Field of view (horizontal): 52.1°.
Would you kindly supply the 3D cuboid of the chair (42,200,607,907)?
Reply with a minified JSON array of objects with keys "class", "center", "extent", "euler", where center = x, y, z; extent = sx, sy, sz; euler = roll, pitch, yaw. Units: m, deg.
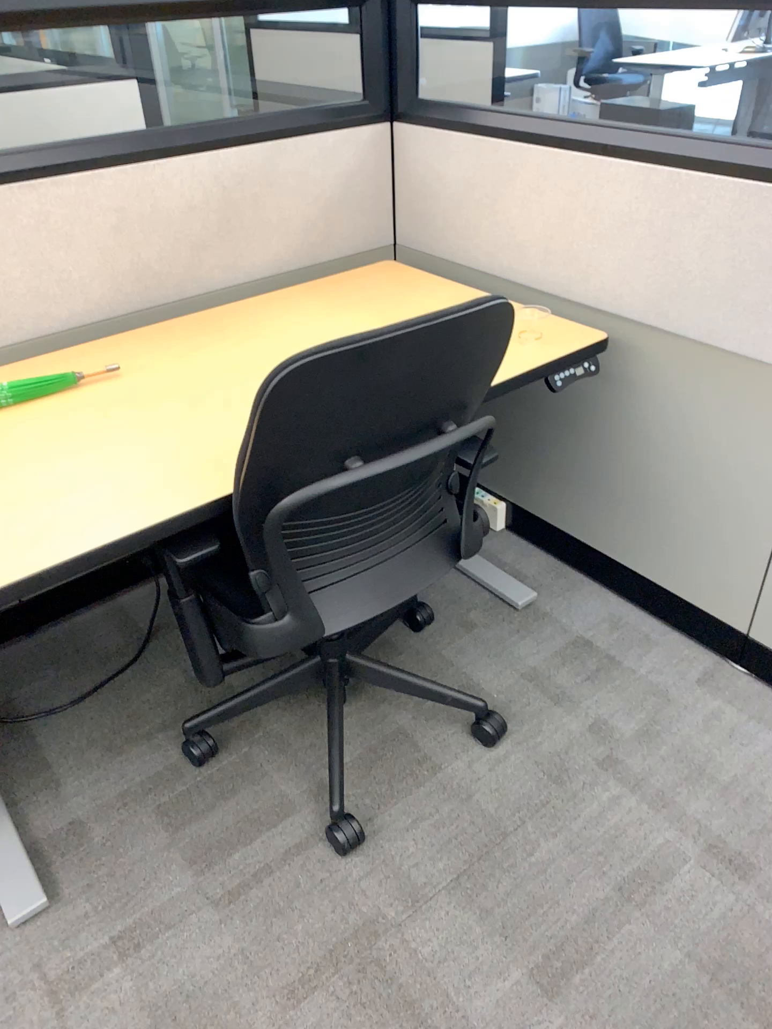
[{"class":"chair","center":[-0.067,0.045,1.456],"extent":[0.671,0.994,0.512],"euler":[-28,42,-32]}]
